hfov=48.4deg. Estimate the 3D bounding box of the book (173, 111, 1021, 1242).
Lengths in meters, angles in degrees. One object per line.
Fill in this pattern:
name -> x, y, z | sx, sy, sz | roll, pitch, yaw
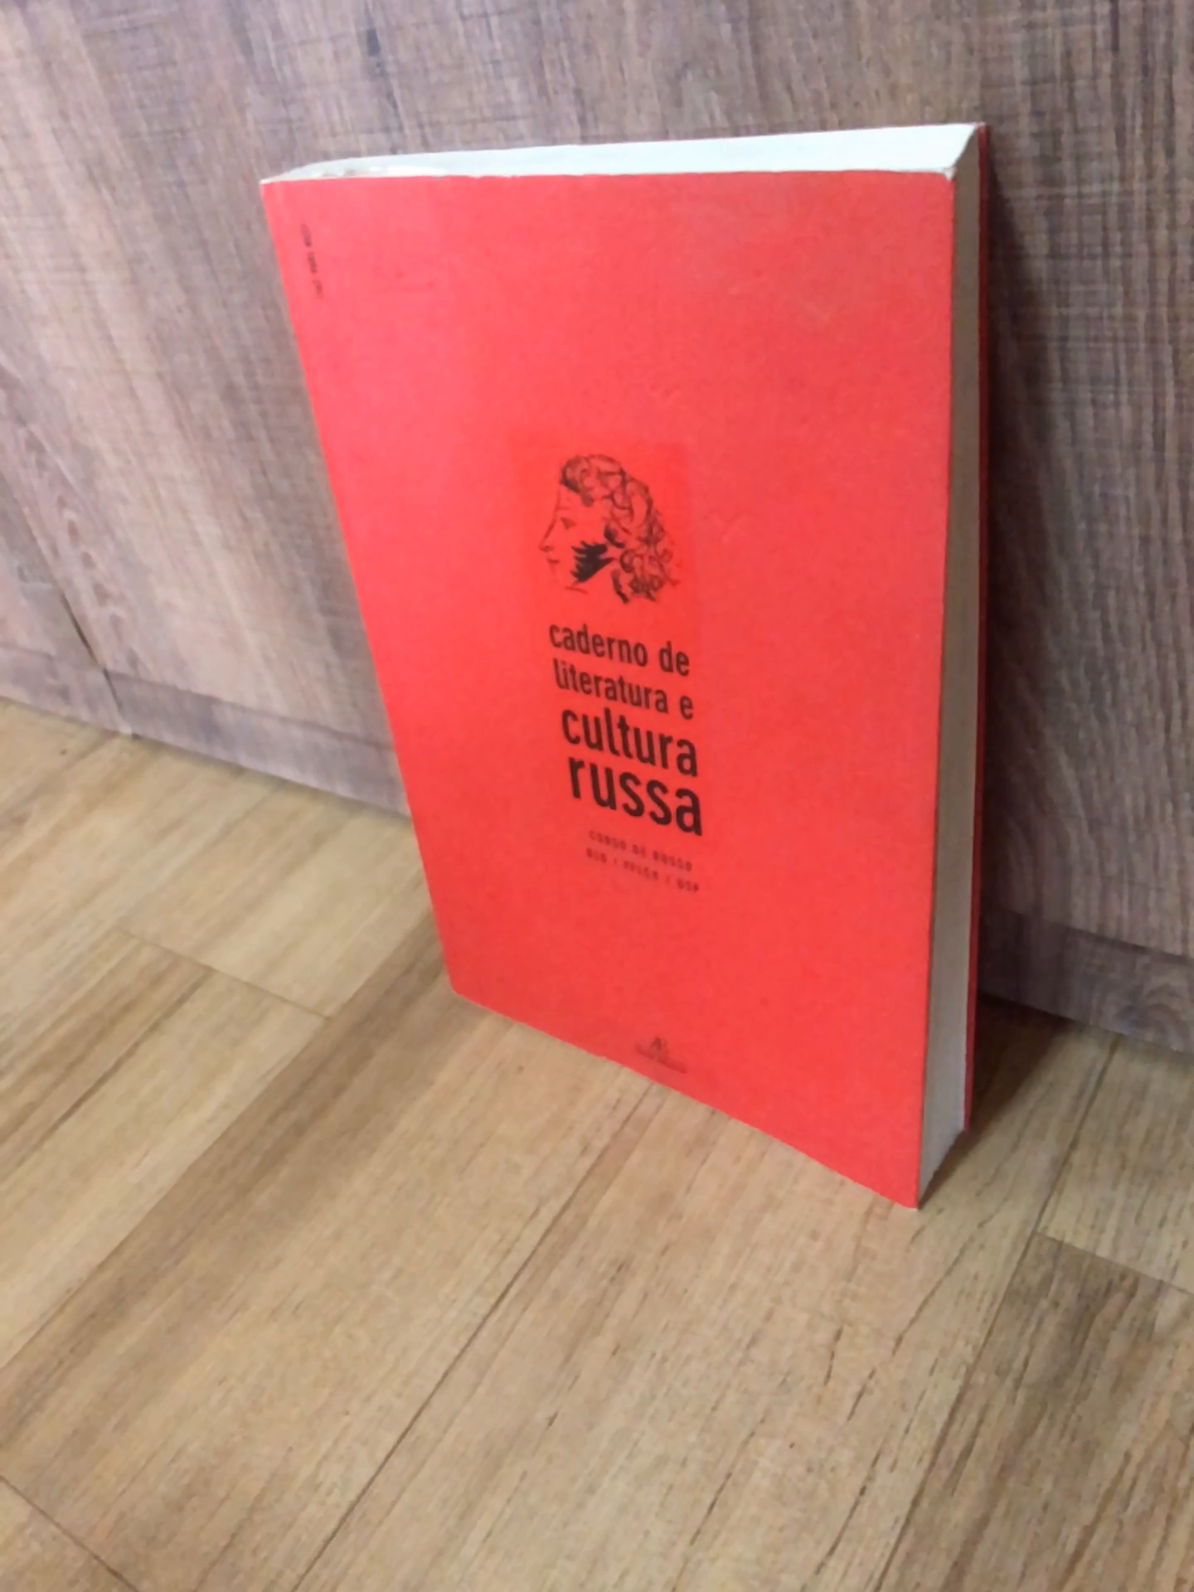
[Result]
book -> 0.002, -0.026, 0.333 | 0.188, 0.248, 0.040 | 17, 40, 35
